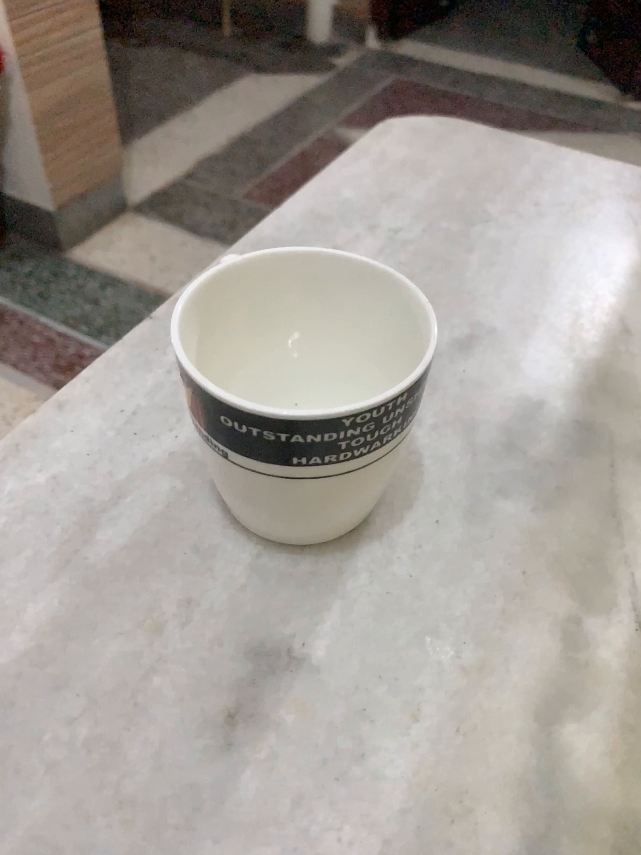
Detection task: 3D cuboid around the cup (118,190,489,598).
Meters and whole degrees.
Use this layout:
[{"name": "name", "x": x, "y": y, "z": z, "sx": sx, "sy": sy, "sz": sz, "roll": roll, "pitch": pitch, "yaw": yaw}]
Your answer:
[{"name": "cup", "x": -0.011, "y": -0.014, "z": 0.194, "sx": 0.070, "sy": 0.060, "sz": 0.090, "roll": -14, "pitch": 50, "yaw": -14}]
